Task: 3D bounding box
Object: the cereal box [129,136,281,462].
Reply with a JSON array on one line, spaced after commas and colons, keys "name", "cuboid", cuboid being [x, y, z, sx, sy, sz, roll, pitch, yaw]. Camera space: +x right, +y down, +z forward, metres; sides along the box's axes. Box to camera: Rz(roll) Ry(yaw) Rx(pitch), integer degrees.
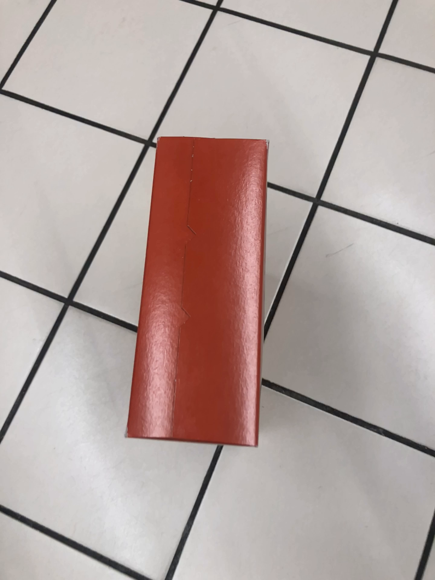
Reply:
[{"name": "cereal box", "cuboid": [0.004, 0.029, 0.358, 0.070, 0.240, 0.170, 1, 74, 4]}]
